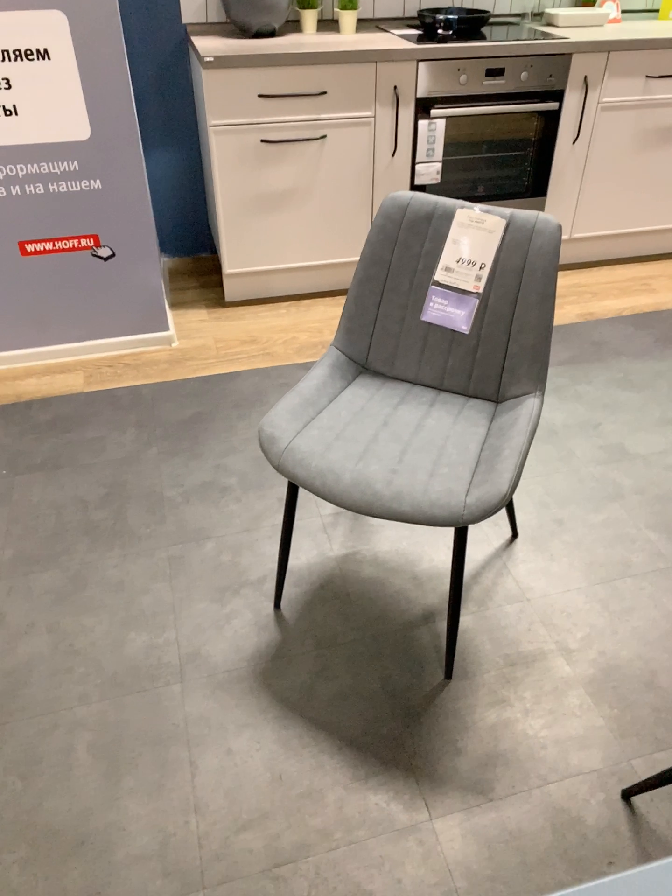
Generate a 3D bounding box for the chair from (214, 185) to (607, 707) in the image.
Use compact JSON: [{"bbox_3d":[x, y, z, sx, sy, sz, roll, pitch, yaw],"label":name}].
[{"bbox_3d":[0.168,-0.024,1.489,0.523,0.833,0.592,17,41,21],"label":"chair"}]
